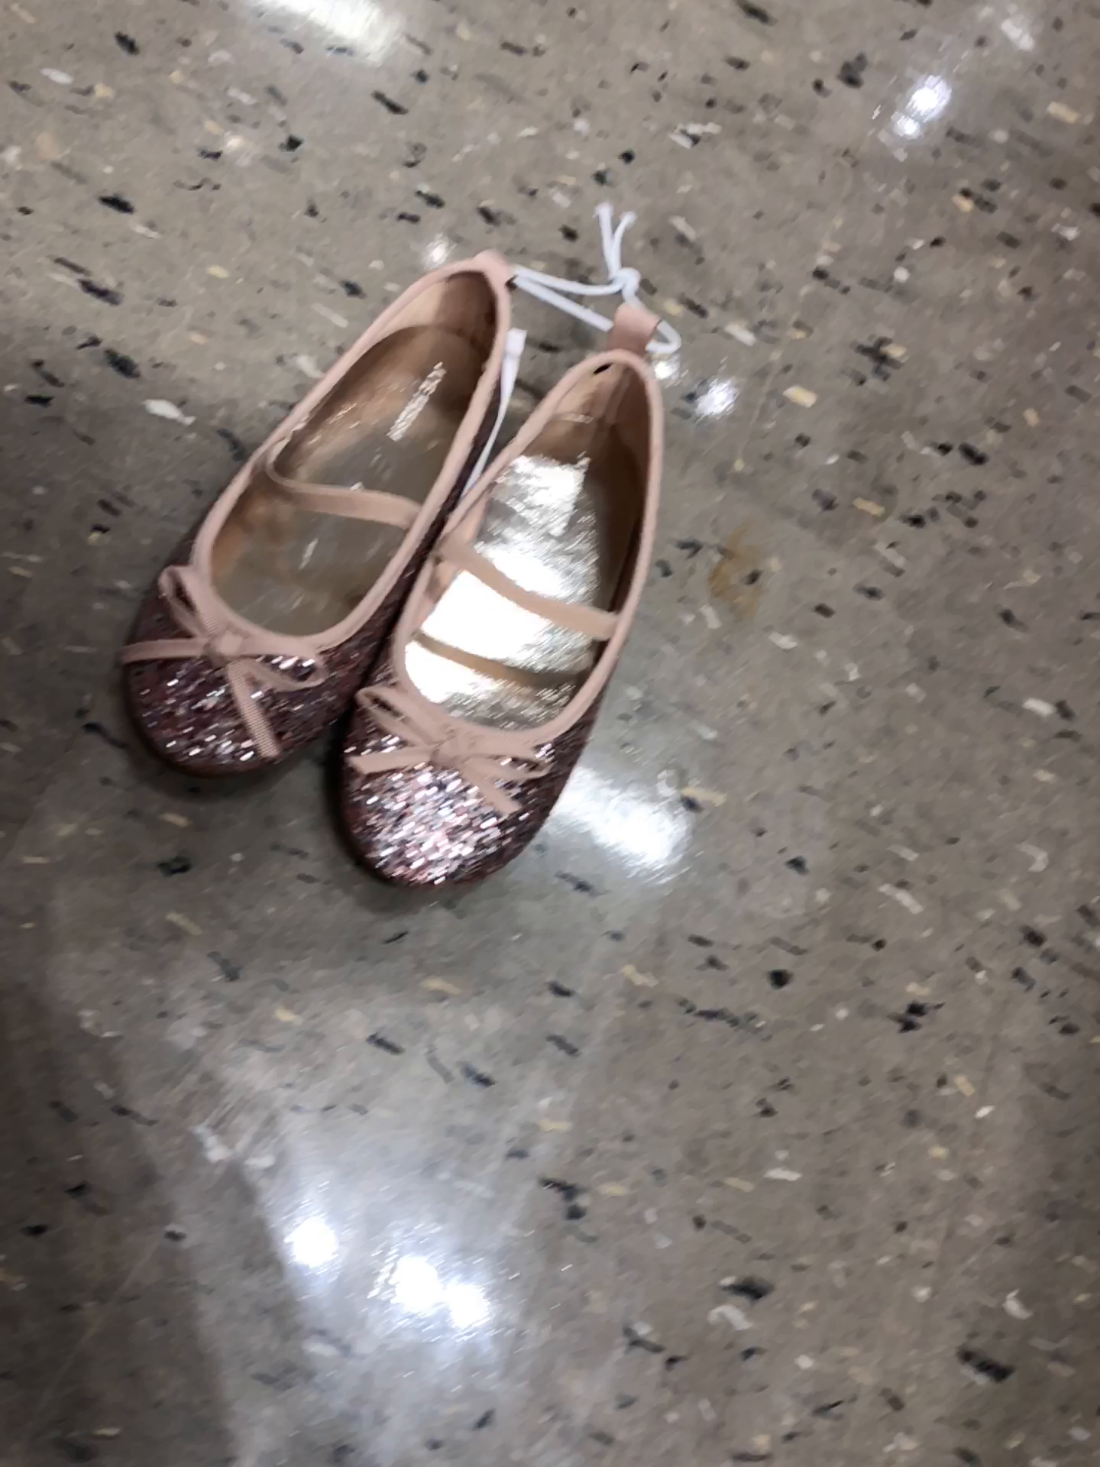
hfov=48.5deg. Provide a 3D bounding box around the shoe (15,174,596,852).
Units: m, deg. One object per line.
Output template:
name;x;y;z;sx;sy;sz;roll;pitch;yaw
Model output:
shoe;-0.062;-0.059;0.337;0.070;0.070;0.160;31;68;-5

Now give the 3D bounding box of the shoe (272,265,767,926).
shoe;-0.009;-0.037;0.348;0.070;0.070;0.160;27;69;-6
